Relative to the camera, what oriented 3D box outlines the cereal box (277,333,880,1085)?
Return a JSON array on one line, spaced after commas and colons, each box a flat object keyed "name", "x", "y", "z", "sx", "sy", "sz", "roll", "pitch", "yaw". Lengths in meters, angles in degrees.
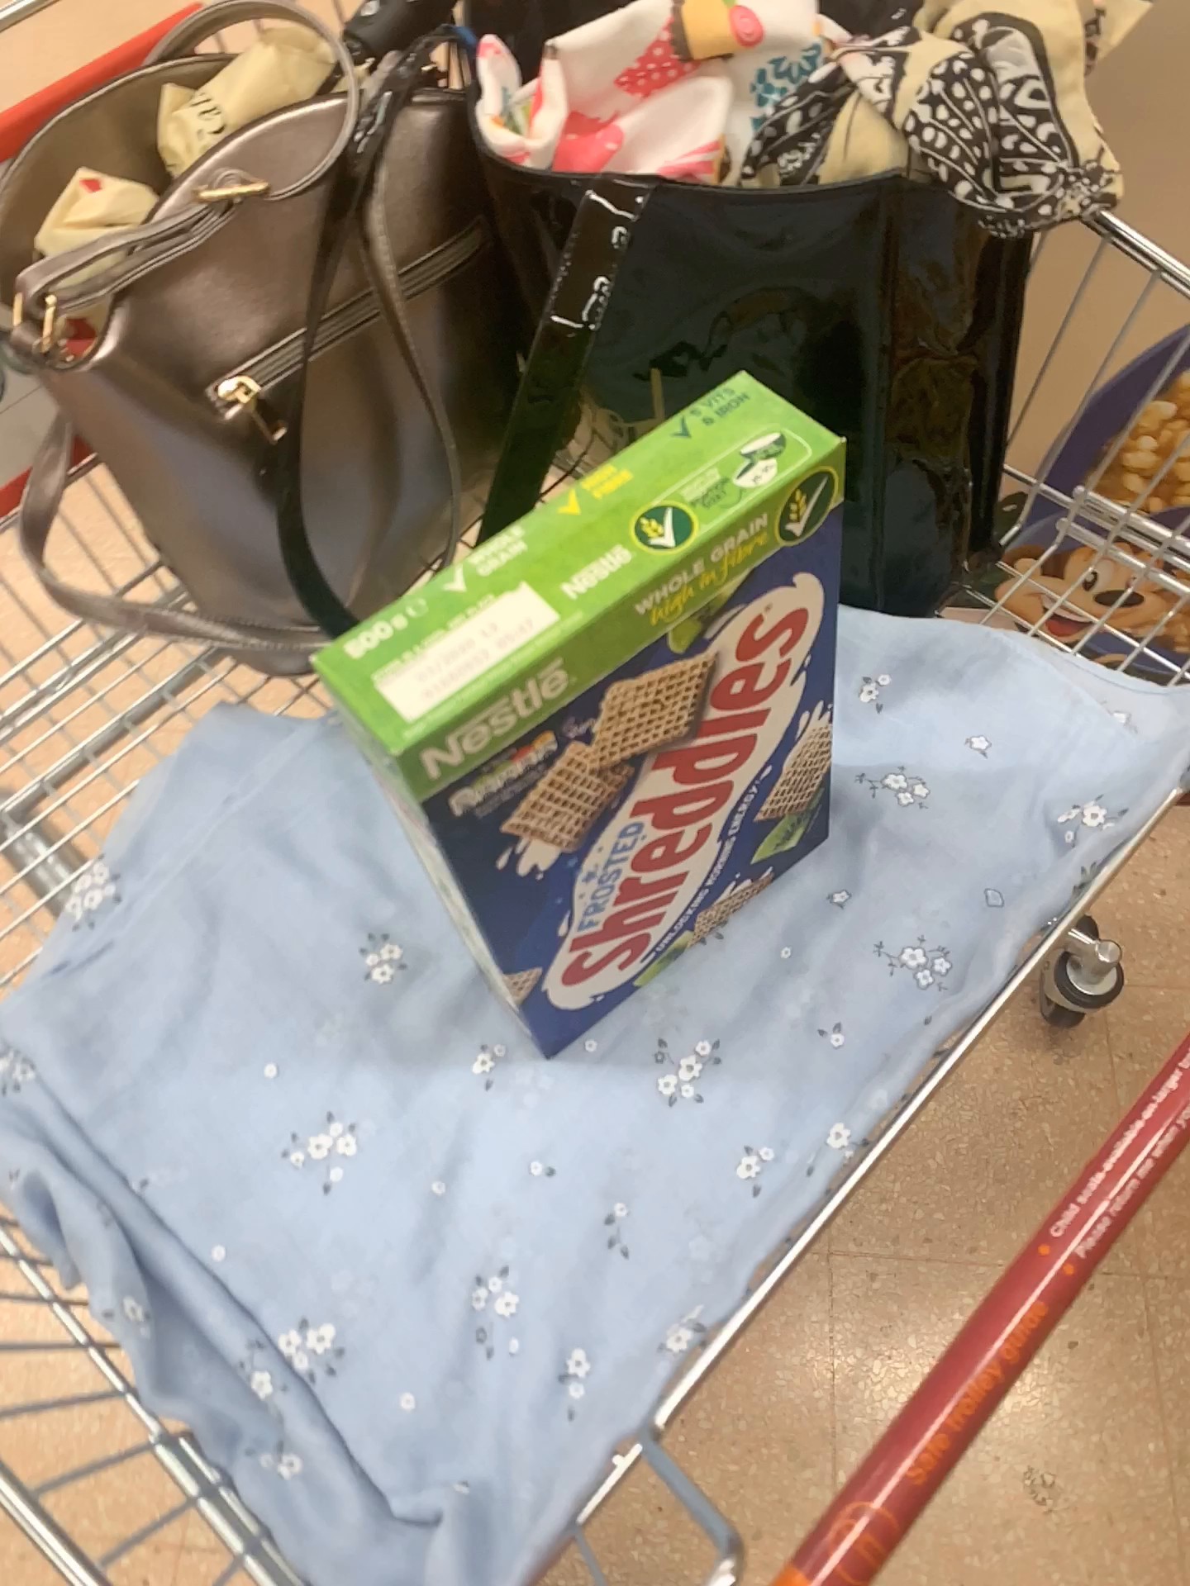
[{"name": "cereal box", "x": 0.012, "y": -0.010, "z": 0.506, "sx": 0.200, "sy": 0.288, "sz": 0.060, "roll": -37, "pitch": 61, "yaw": -16}]
